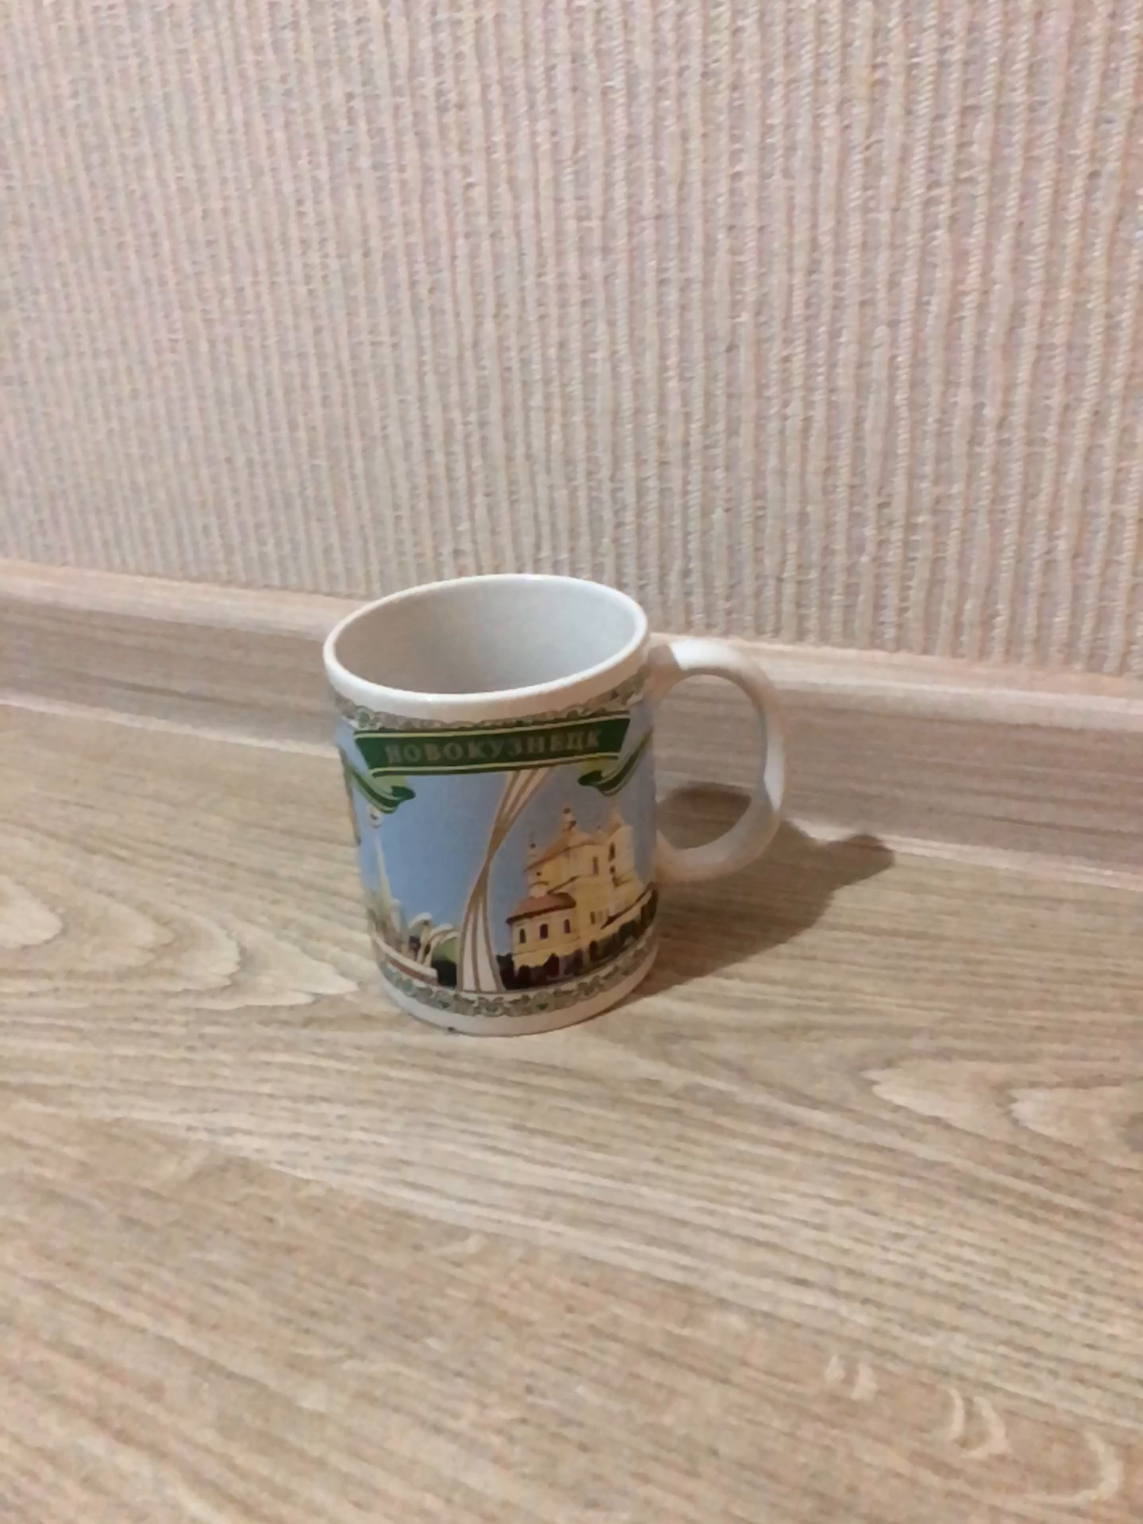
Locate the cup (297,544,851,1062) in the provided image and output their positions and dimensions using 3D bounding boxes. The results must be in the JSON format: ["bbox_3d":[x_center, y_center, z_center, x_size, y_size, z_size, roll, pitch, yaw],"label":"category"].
[{"bbox_3d":[0.000,0.007,0.331,0.121,0.096,0.082,-6,26,-4],"label":"cup"}]
